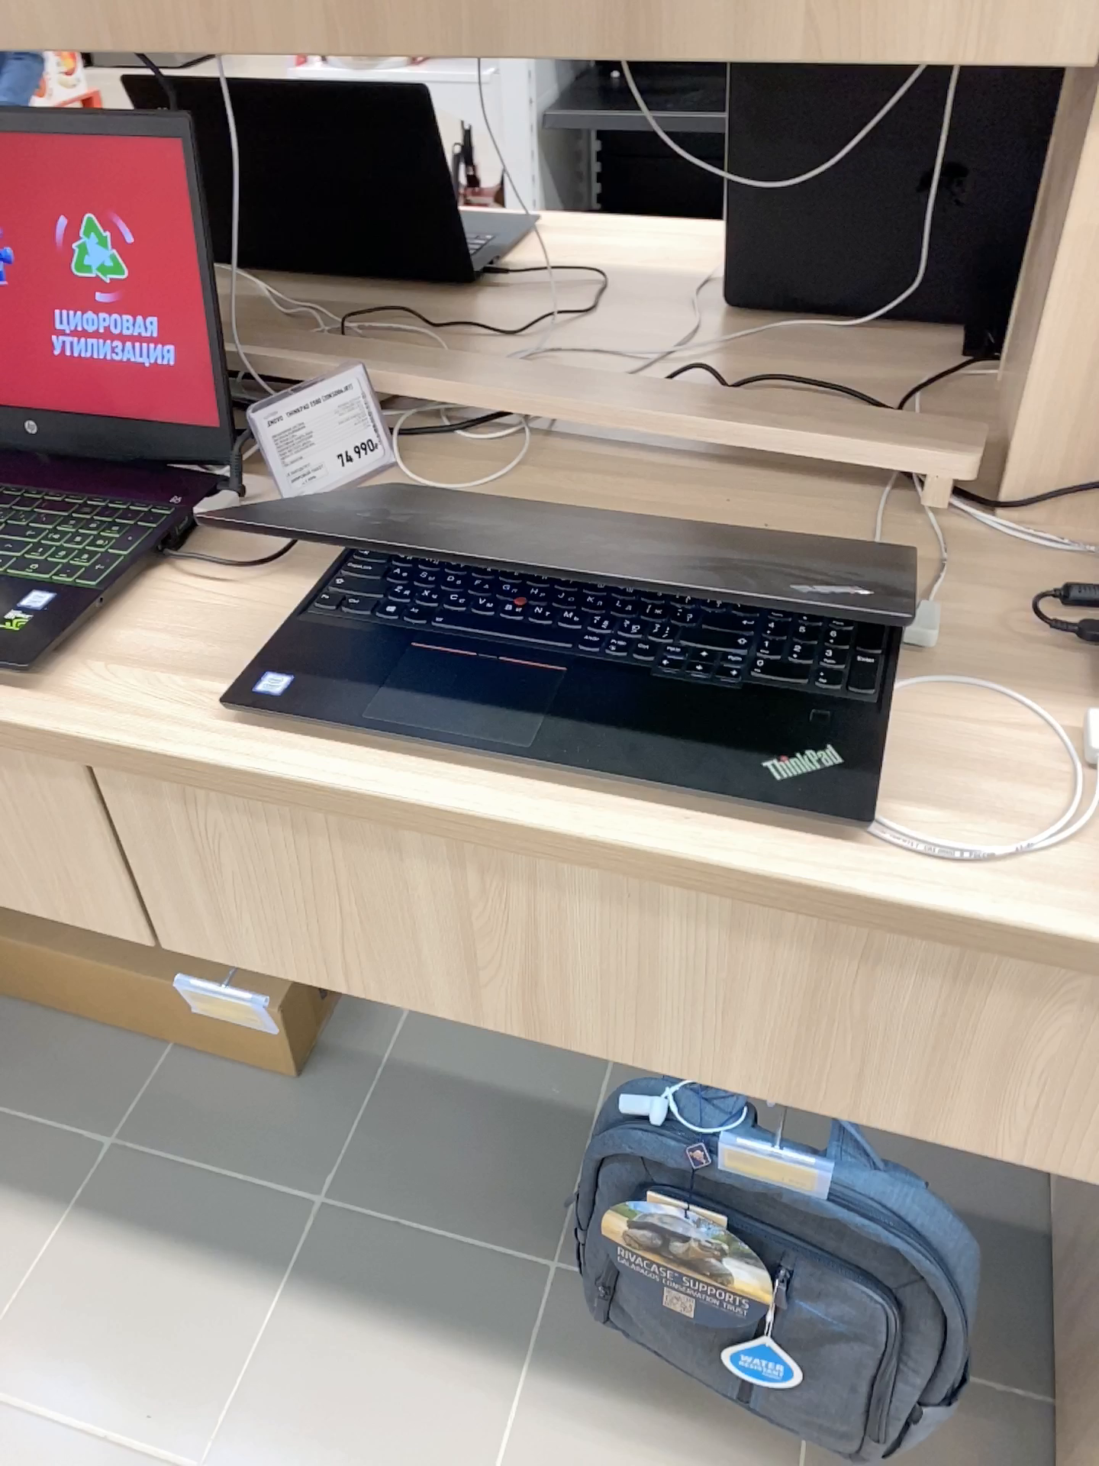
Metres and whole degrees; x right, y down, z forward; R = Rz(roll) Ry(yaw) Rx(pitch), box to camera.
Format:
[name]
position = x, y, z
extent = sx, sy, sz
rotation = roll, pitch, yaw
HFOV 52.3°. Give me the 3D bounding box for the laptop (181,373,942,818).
[laptop]
position = 0.019, -0.102, 0.650
extent = 0.368, 0.093, 0.241
rotation = 10, 42, 16
